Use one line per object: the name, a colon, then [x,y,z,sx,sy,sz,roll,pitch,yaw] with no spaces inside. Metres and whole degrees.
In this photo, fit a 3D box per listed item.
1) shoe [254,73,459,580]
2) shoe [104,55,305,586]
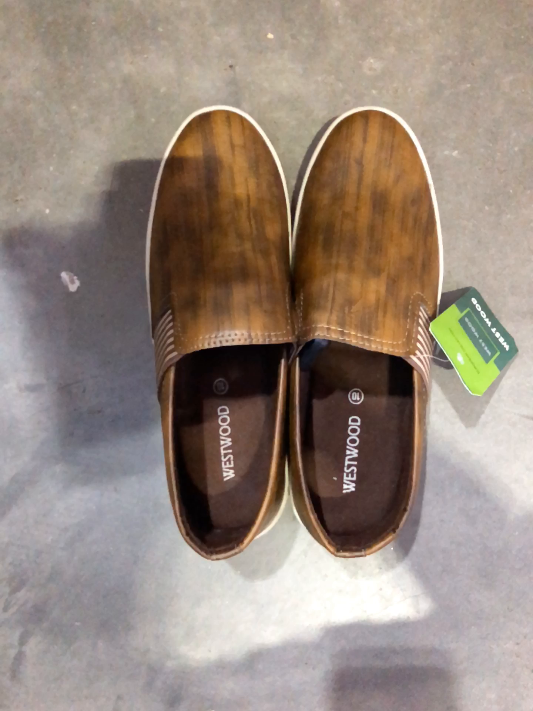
shoe: [0.057,-0.019,0.388,0.110,0.100,0.290,2,84,4]
shoe: [-0.034,-0.020,0.375,0.100,0.100,0.290,-3,84,3]
